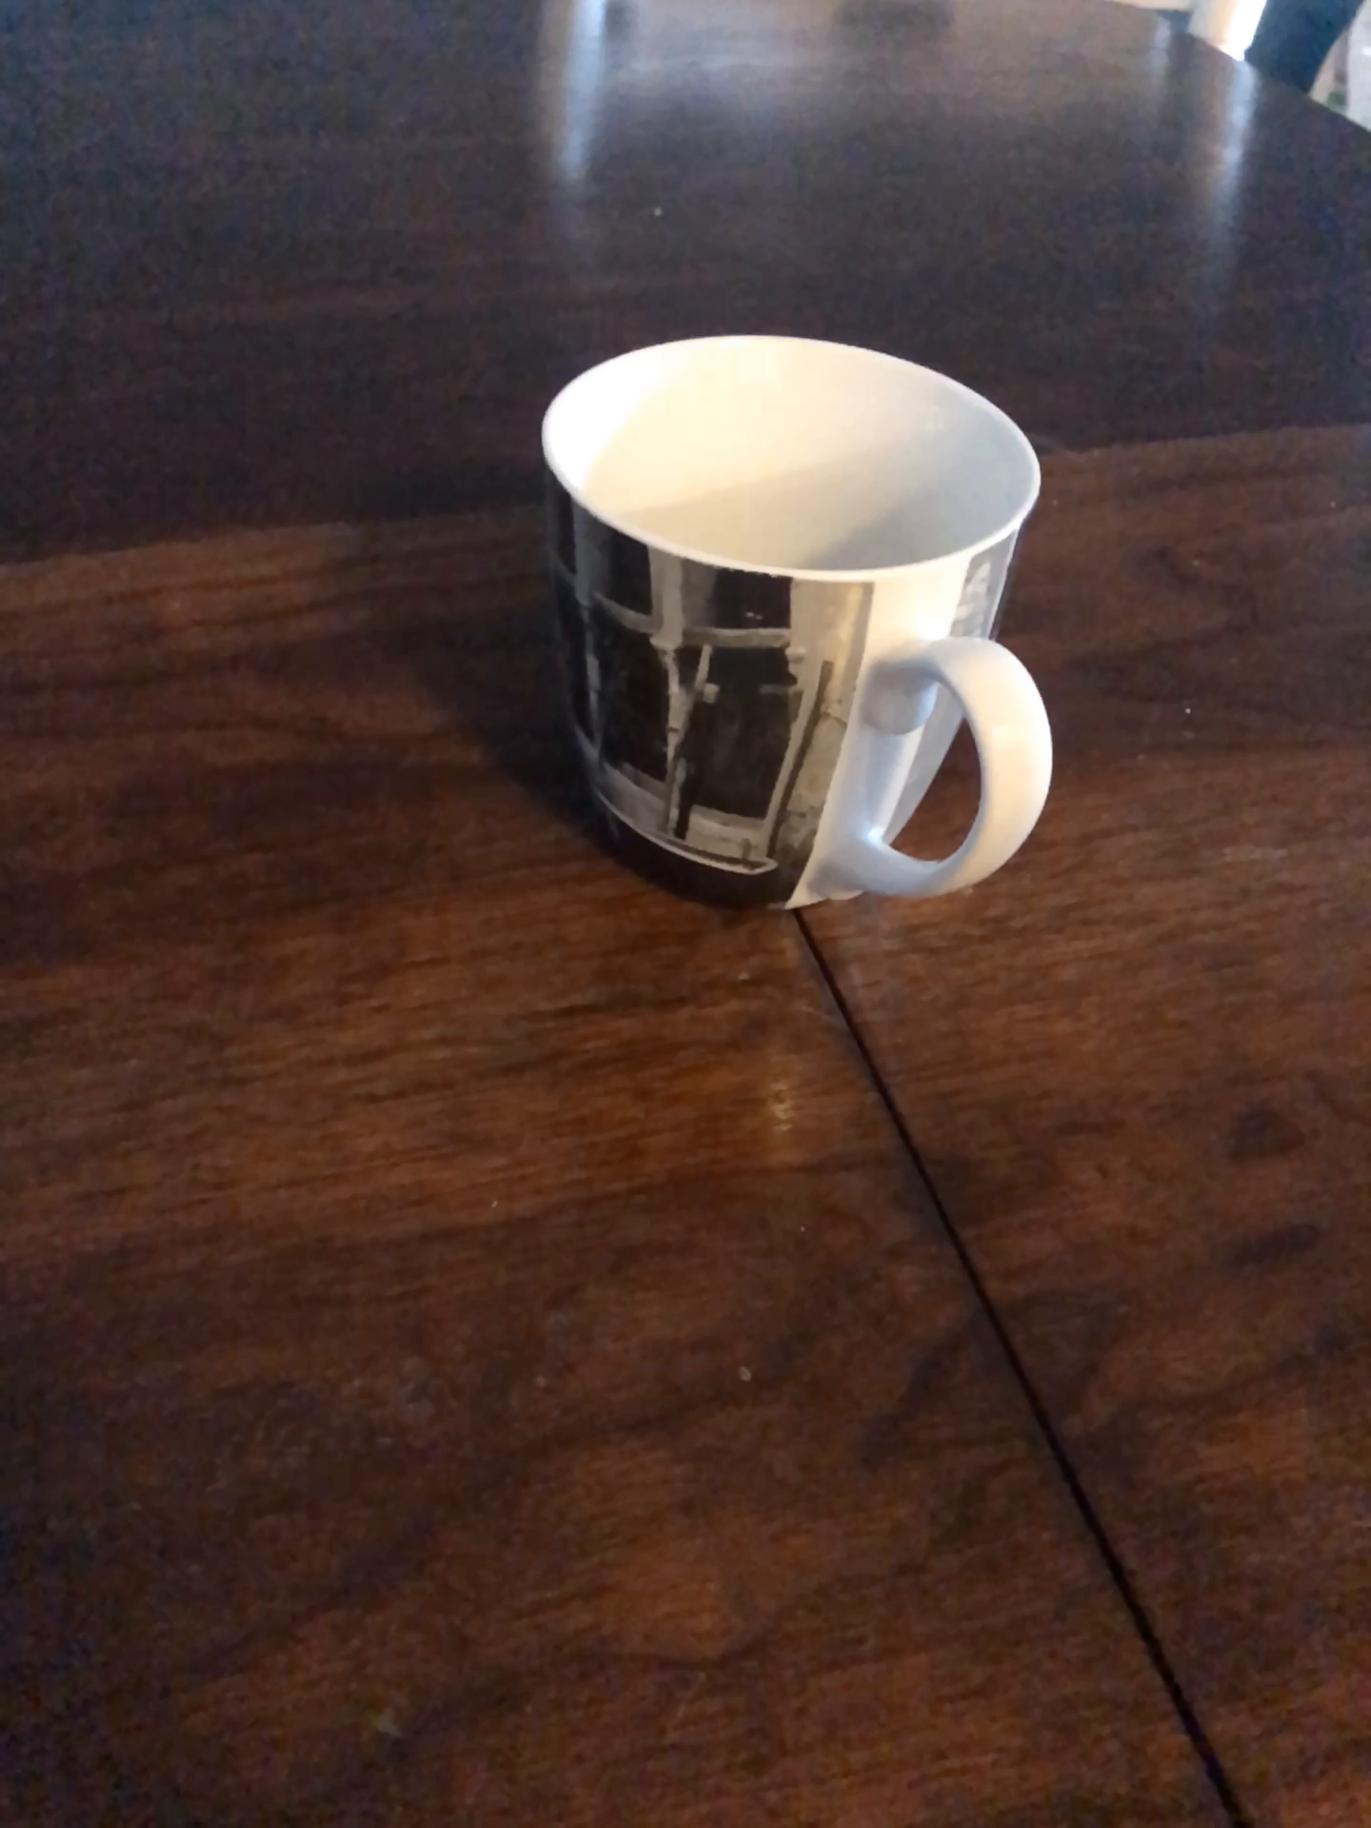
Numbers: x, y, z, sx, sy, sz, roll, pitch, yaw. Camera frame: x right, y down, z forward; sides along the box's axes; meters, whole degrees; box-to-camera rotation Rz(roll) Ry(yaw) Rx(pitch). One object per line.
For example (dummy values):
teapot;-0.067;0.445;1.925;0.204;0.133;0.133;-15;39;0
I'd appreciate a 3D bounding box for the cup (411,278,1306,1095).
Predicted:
cup;0.024;-0.055;0.307;0.100;0.080;0.140;-22;49;-25
